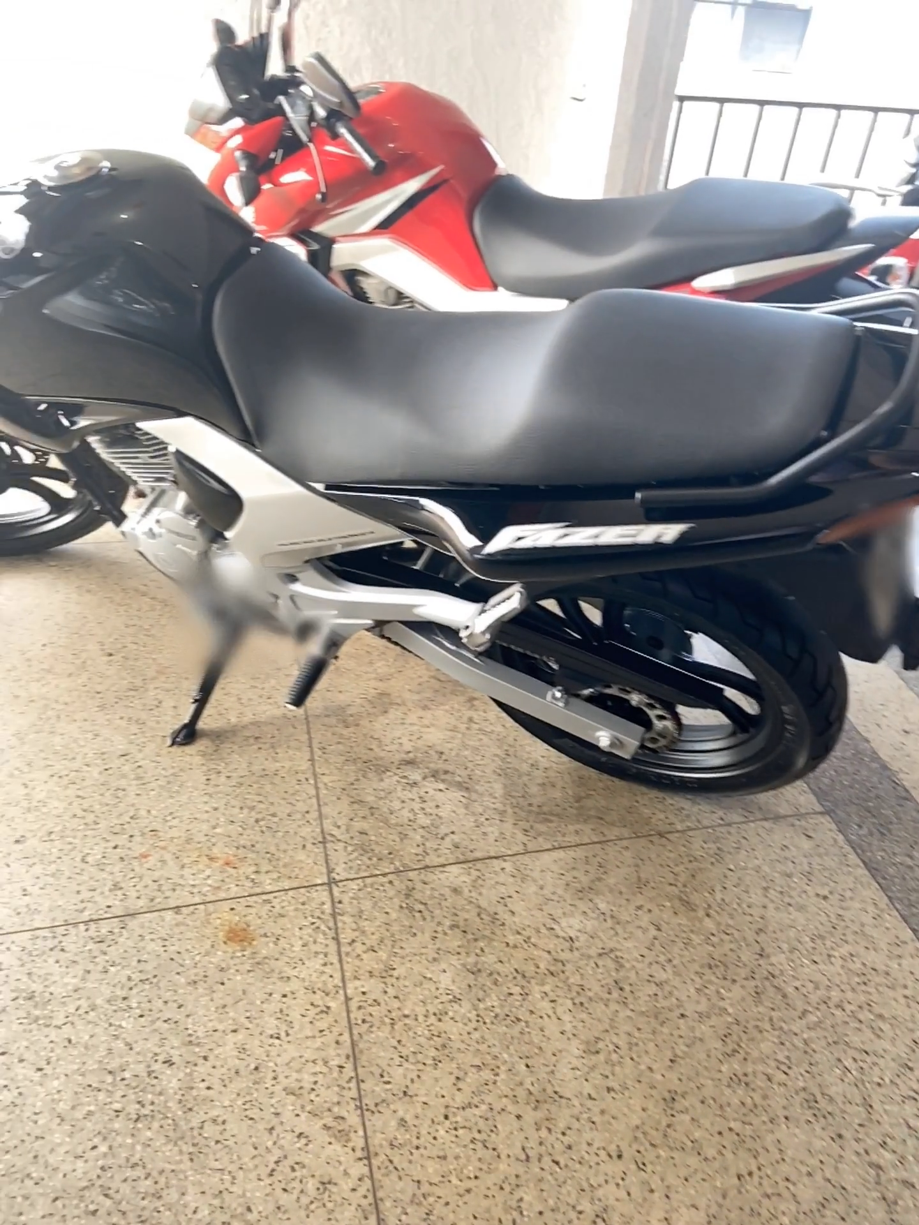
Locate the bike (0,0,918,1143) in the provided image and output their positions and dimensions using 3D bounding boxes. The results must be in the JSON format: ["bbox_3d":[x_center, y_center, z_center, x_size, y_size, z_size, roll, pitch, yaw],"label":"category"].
[{"bbox_3d":[-0.269,-0.232,1.471,1.877,1.511,0.848,12,35,6],"label":"bike"}]
